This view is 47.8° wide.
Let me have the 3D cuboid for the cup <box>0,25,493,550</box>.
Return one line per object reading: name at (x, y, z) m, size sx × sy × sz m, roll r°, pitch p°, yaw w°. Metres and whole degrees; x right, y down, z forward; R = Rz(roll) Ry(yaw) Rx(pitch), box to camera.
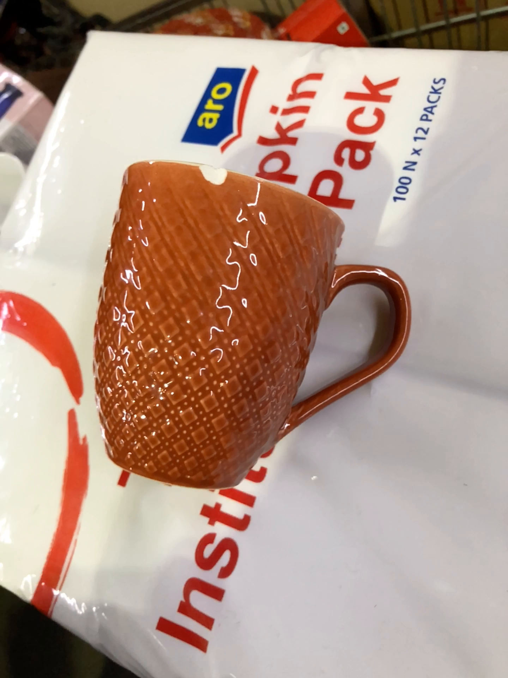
cup at (-0.007, -0.007, 0.162) m, size 0.070 × 0.100 × 0.090 m, roll 177°, pitch 111°, yaw -71°
